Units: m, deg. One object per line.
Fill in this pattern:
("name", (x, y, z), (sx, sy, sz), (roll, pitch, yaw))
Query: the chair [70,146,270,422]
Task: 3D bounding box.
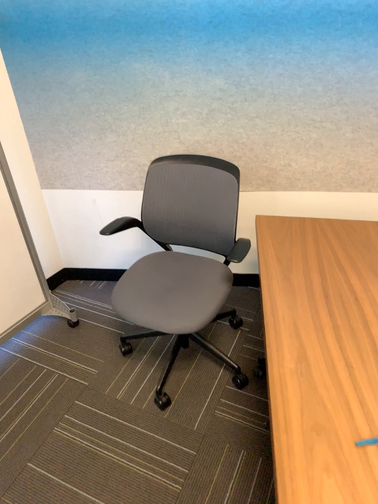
("chair", (-0.038, 0.116, 1.651), (0.542, 0.934, 0.532), (14, 35, 23))
